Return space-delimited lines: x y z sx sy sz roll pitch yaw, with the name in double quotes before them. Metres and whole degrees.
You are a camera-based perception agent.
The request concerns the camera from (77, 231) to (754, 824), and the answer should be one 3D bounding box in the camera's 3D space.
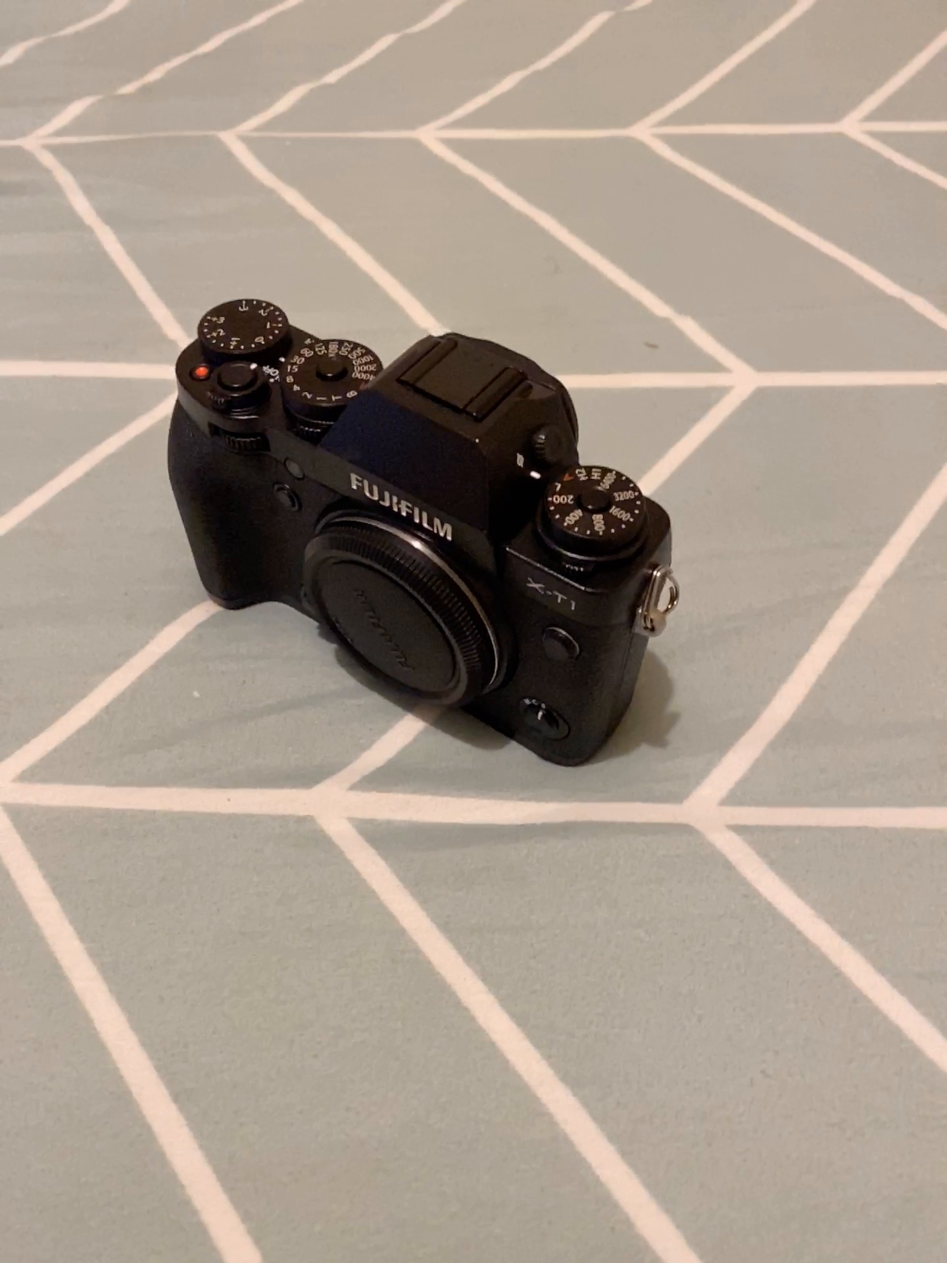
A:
"camera" -0.016 -0.028 0.244 0.142 0.082 0.054 28 57 20
